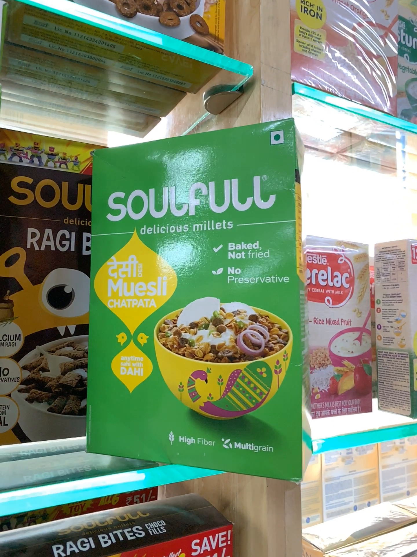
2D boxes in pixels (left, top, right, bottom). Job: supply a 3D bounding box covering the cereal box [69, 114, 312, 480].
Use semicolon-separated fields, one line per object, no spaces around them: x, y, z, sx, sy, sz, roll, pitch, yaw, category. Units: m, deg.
-0.013;0.011;0.315;0.160;0.220;0.060;-2;-6;20;cereal box
